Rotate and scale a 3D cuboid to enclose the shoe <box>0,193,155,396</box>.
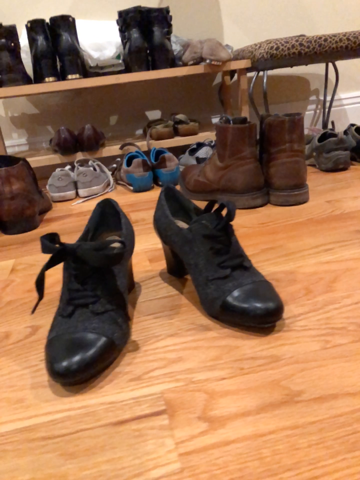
[{"bbox_3d":[-0.101,0.041,0.435,0.093,0.125,0.224,-4,21,9],"label":"shoe"}]

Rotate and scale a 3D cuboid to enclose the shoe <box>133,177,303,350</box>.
[{"bbox_3d":[0.034,0.009,0.476,0.088,0.125,0.224,-16,22,-24],"label":"shoe"}]
